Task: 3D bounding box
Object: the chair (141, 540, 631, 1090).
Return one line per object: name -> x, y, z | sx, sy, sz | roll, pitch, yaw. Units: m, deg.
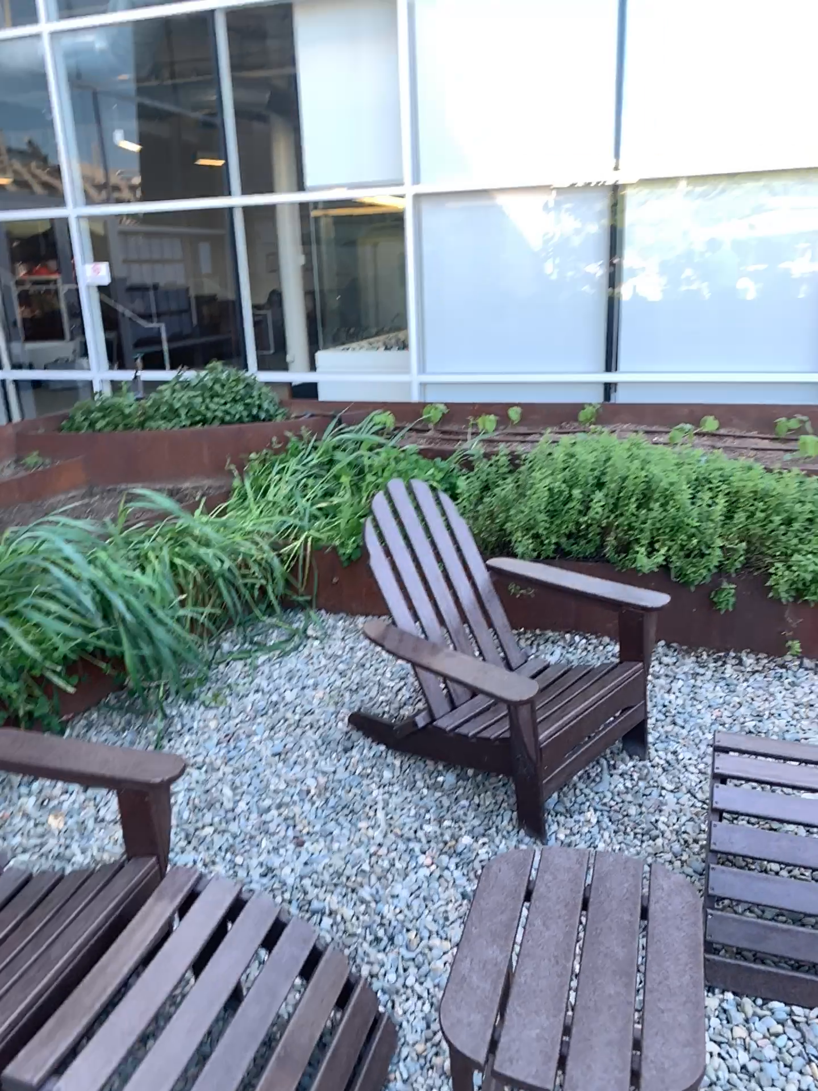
chair -> -0.089, 0.678, 2.490 | 1.001, 0.996, 1.003 | -13, 21, -31
